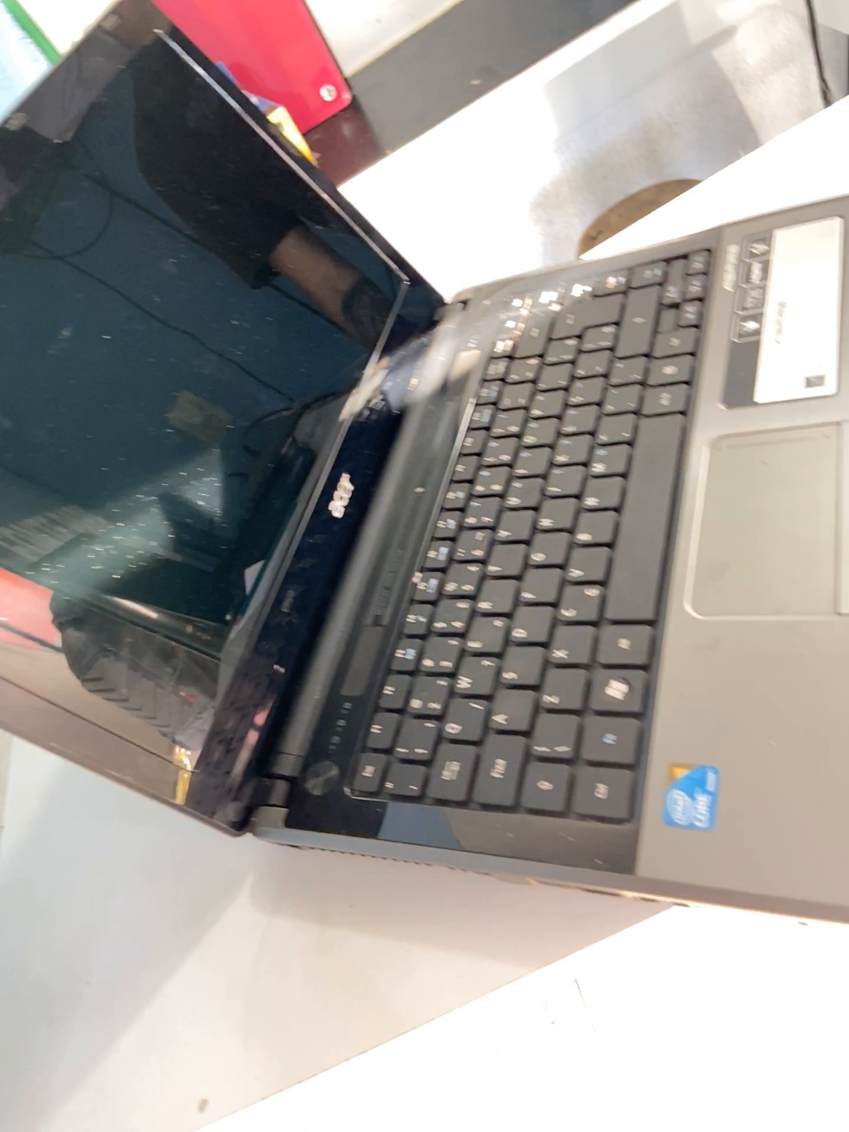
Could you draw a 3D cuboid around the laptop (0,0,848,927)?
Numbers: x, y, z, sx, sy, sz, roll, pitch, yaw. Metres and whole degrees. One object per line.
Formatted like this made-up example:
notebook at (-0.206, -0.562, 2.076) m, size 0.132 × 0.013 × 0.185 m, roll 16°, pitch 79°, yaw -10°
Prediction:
laptop at (-0.007, -0.094, 0.330) m, size 0.318 × 0.207 × 0.338 m, roll -4°, pitch 52°, yaw 31°
